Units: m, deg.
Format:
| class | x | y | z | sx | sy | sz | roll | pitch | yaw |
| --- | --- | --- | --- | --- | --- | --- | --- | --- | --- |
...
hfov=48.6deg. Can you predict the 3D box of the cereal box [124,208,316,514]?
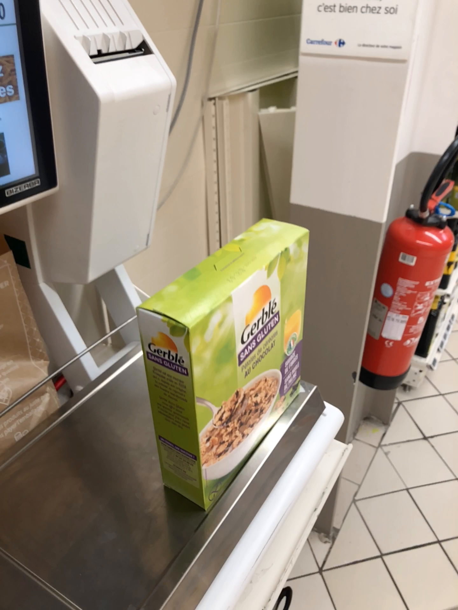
| class | x | y | z | sx | sy | sz | roll | pitch | yaw |
| --- | --- | --- | --- | --- | --- | --- | --- | --- | --- |
| cereal box | 0.006 | 0.049 | 0.497 | 0.060 | 0.219 | 0.201 | 20 | 40 | 29 |
